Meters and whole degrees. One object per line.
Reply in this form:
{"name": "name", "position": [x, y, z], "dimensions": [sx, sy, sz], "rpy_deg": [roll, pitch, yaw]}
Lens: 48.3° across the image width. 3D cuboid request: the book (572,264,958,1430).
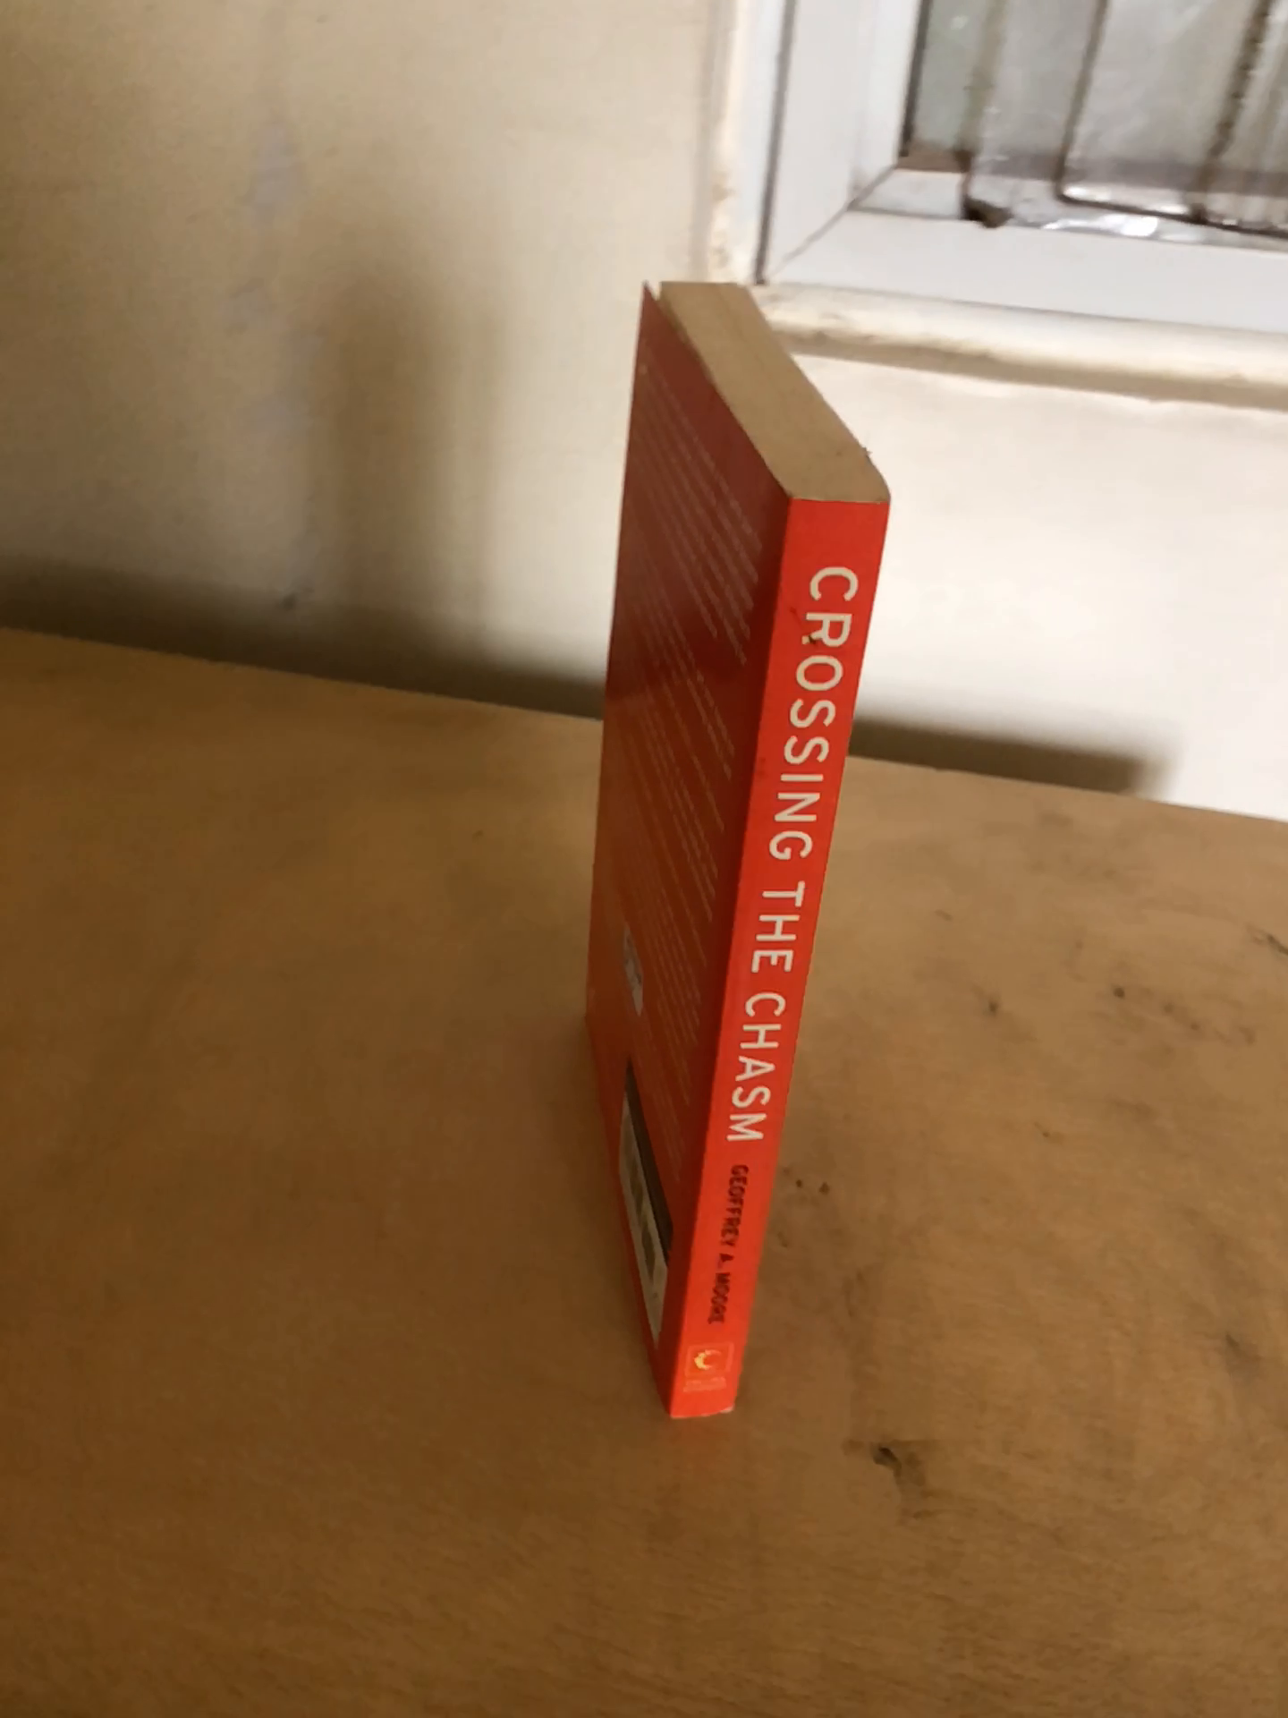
{"name": "book", "position": [0.011, -0.008, 0.316], "dimensions": [0.030, 0.199, 0.161], "rpy_deg": [-1, 34, -9]}
